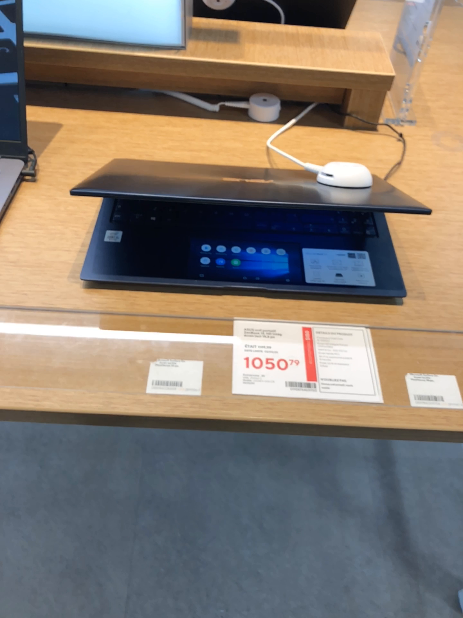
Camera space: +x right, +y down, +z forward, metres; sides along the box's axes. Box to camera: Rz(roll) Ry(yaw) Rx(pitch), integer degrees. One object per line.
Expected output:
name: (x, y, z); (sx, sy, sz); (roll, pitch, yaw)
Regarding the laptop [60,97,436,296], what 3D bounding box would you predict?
laptop: (0.018, -0.132, 0.585); (0.352, 0.098, 0.210); (3, 48, -3)
